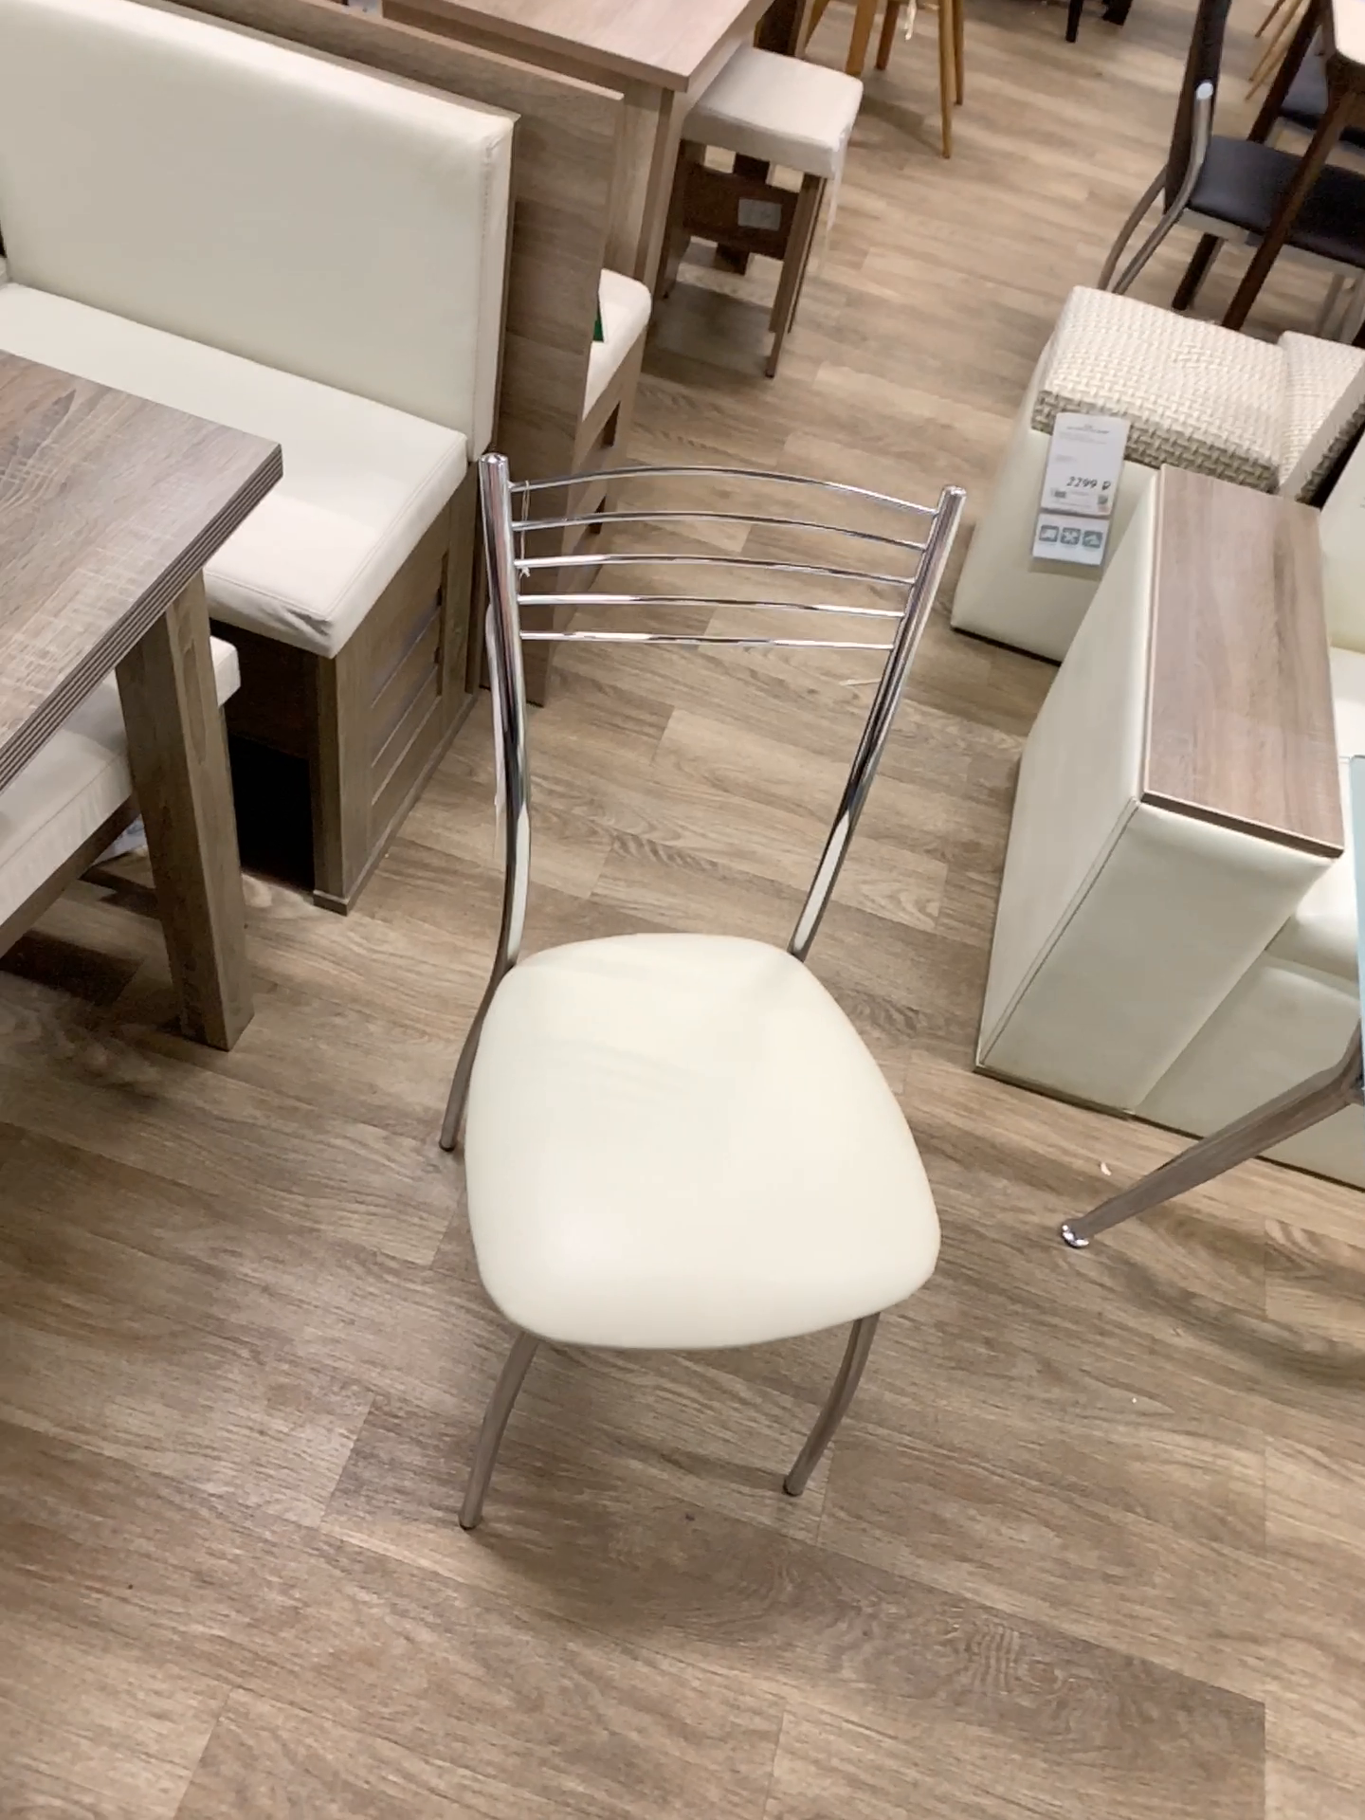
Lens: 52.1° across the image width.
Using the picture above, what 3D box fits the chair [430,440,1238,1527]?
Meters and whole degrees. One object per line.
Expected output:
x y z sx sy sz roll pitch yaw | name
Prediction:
0.001 0.152 1.272 0.413 0.968 0.482 0 52 -13 | chair
